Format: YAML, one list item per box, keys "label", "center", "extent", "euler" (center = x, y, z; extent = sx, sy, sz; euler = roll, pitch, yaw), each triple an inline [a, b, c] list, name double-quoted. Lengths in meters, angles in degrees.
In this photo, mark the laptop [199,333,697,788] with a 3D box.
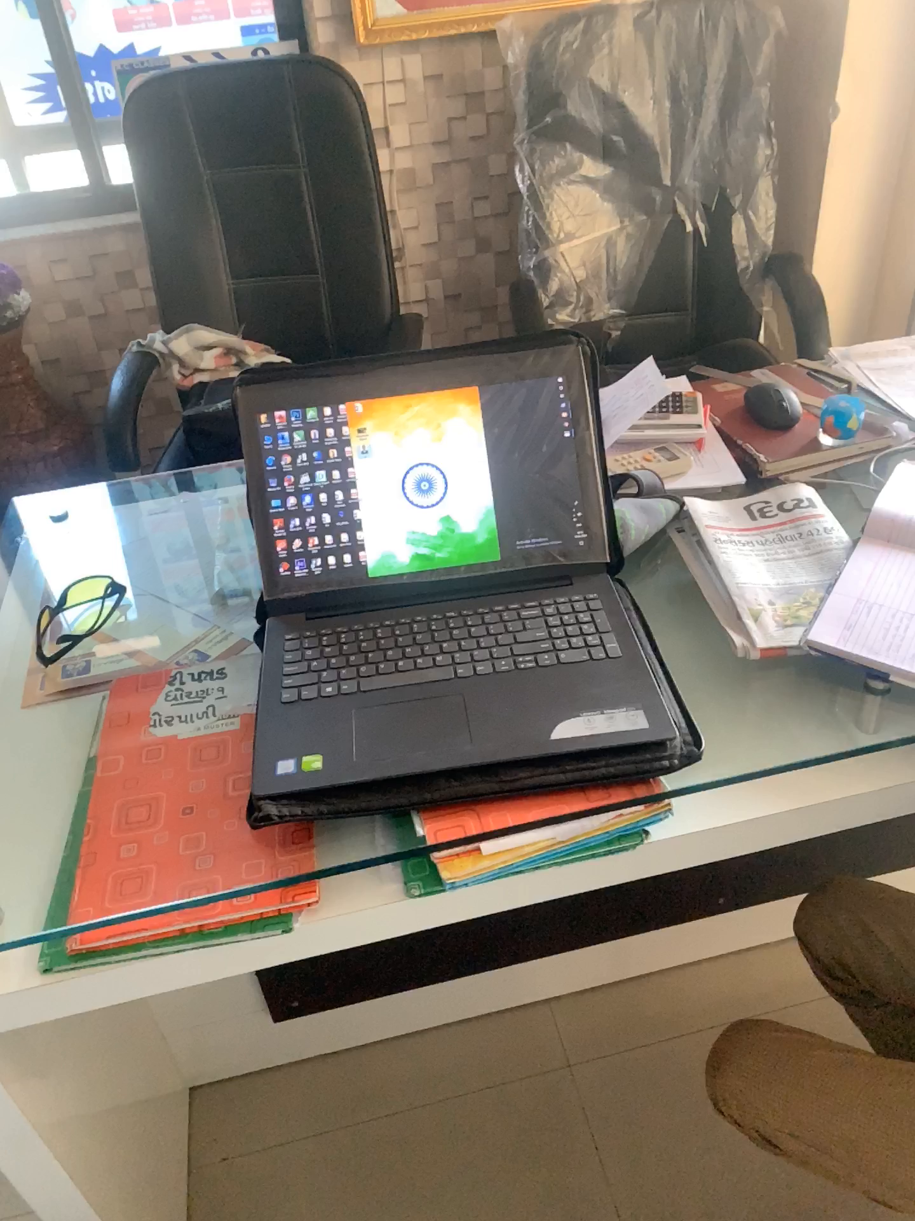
- label: "laptop"
  center: [-0.019, -0.070, 0.828]
  extent: [0.334, 0.175, 0.392]
  euler: [-7, 37, -1]
